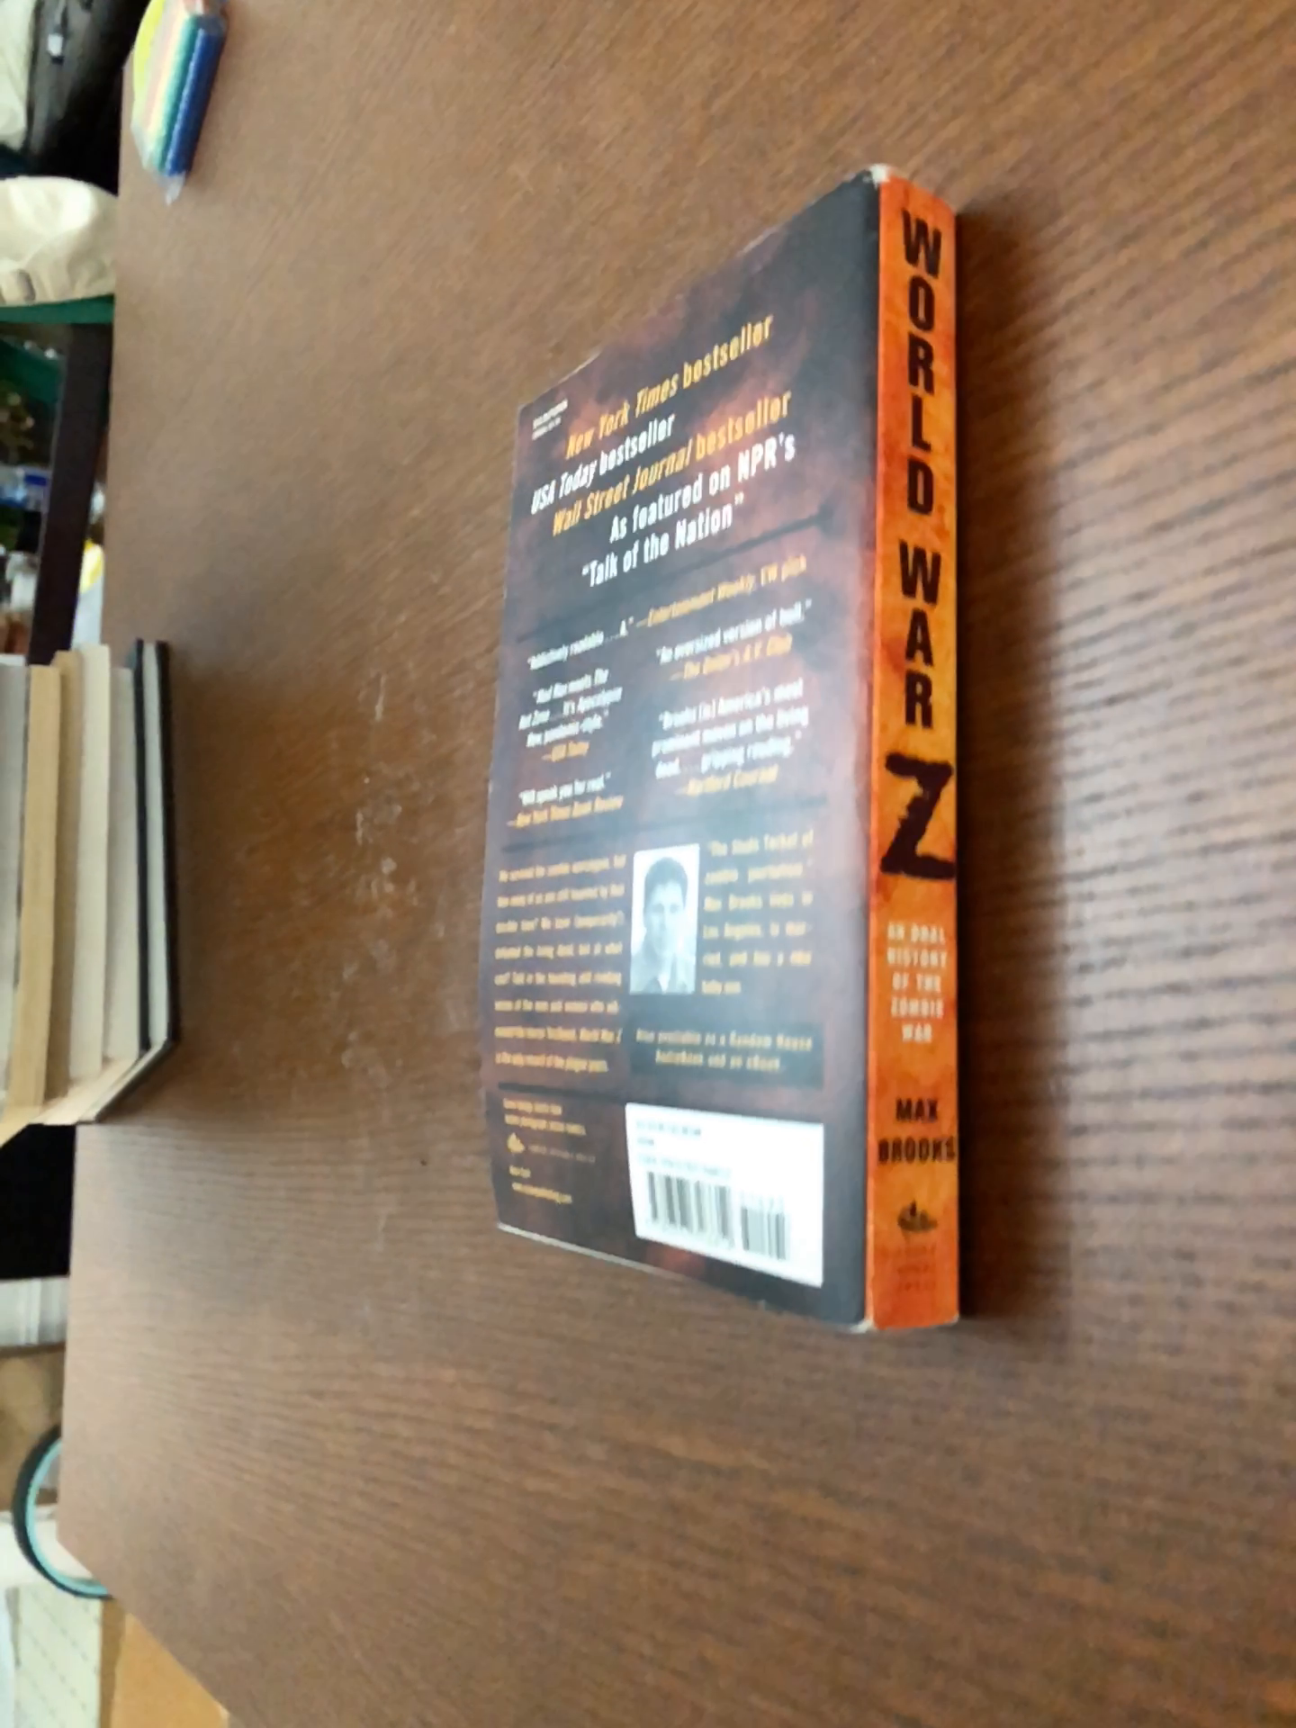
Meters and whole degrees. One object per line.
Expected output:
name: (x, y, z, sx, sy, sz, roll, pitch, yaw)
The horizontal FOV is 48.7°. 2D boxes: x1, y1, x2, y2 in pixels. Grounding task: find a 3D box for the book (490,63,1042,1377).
book: (0.017, -0.023, 0.303, 0.141, 0.030, 0.220, -6, 80, 57)
